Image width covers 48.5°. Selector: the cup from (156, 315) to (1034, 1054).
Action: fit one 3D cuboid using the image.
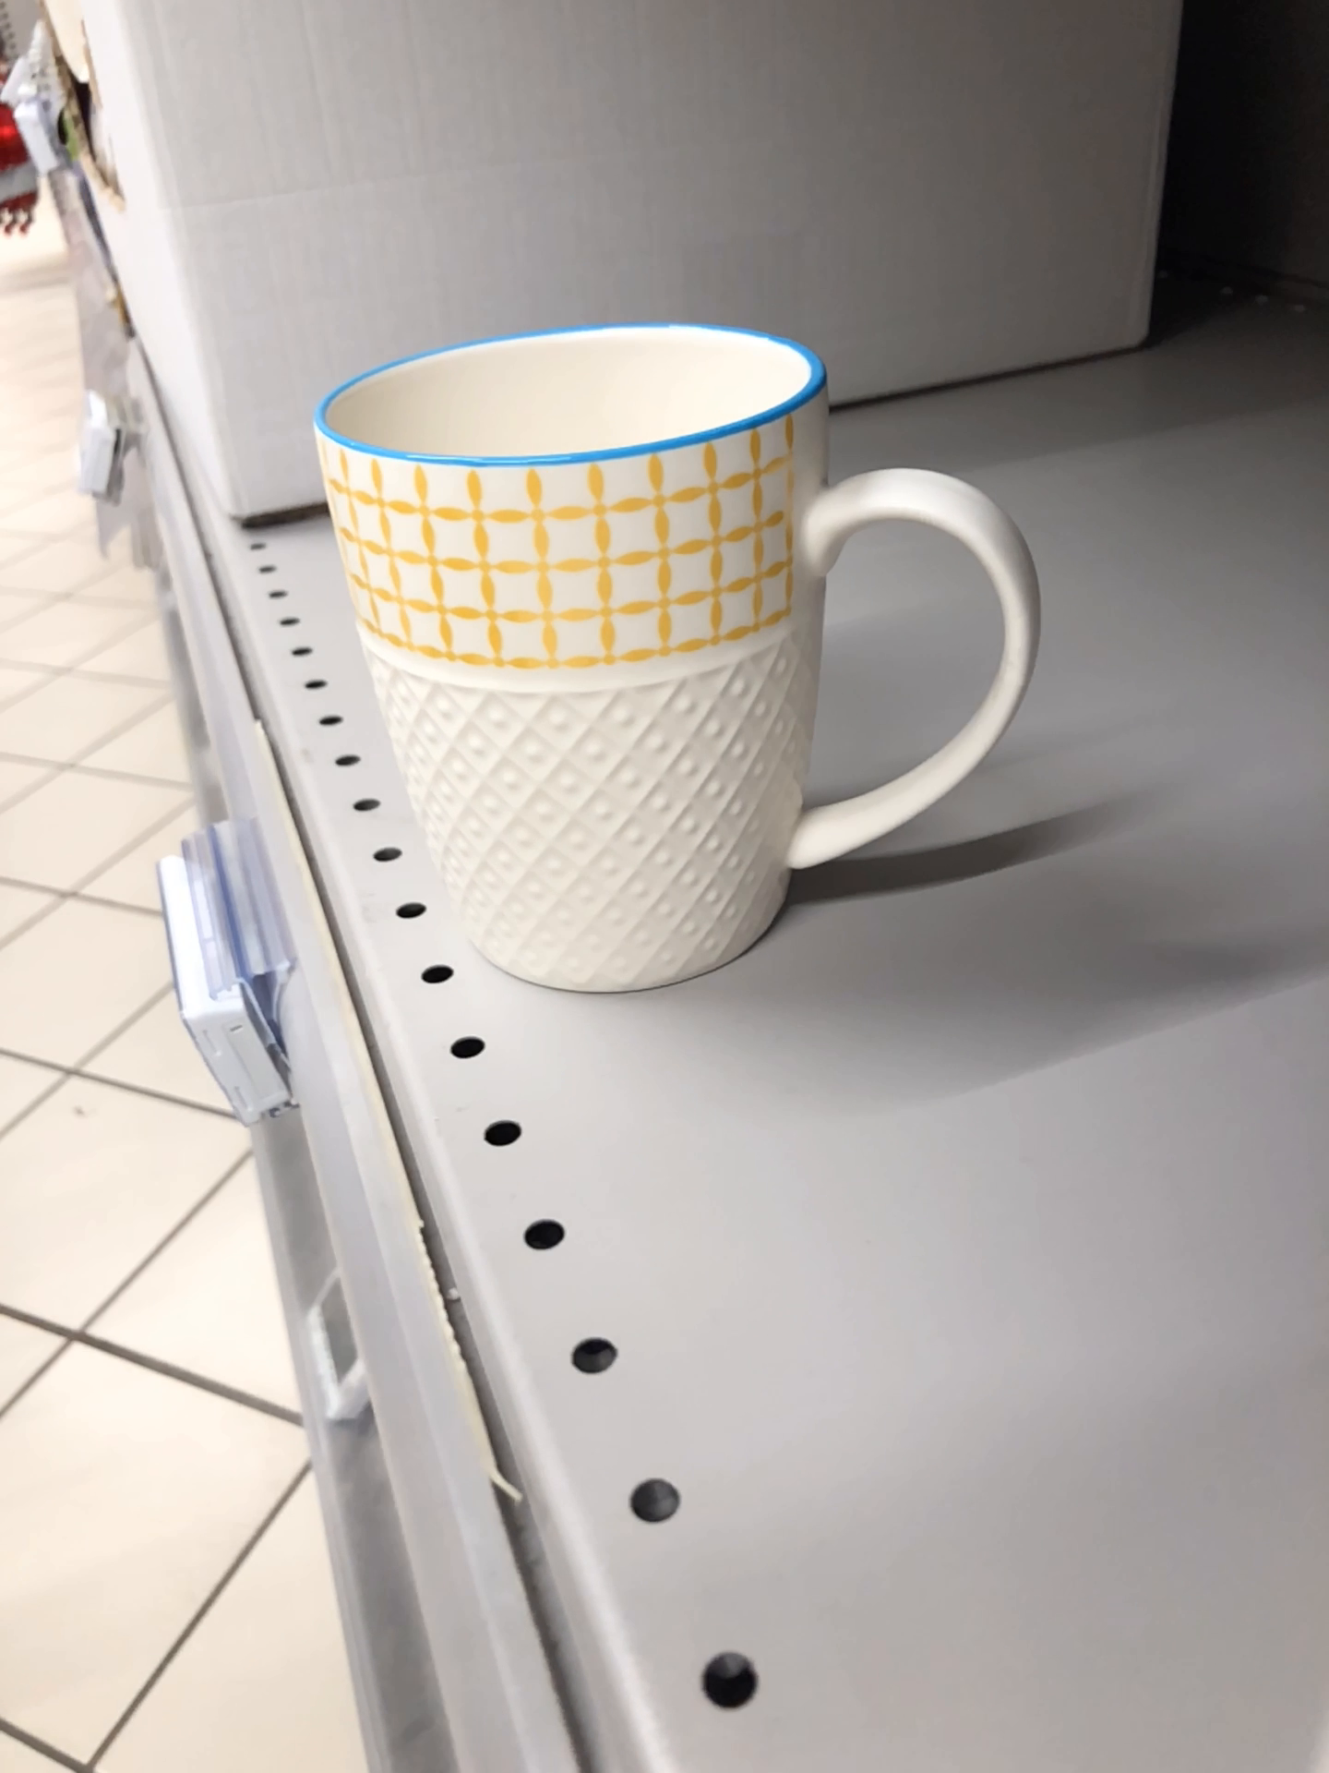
[{"bbox_3d":[0.000,-0.044,0.266,0.117,0.092,0.106,5,29,17],"label":"cup"}]
